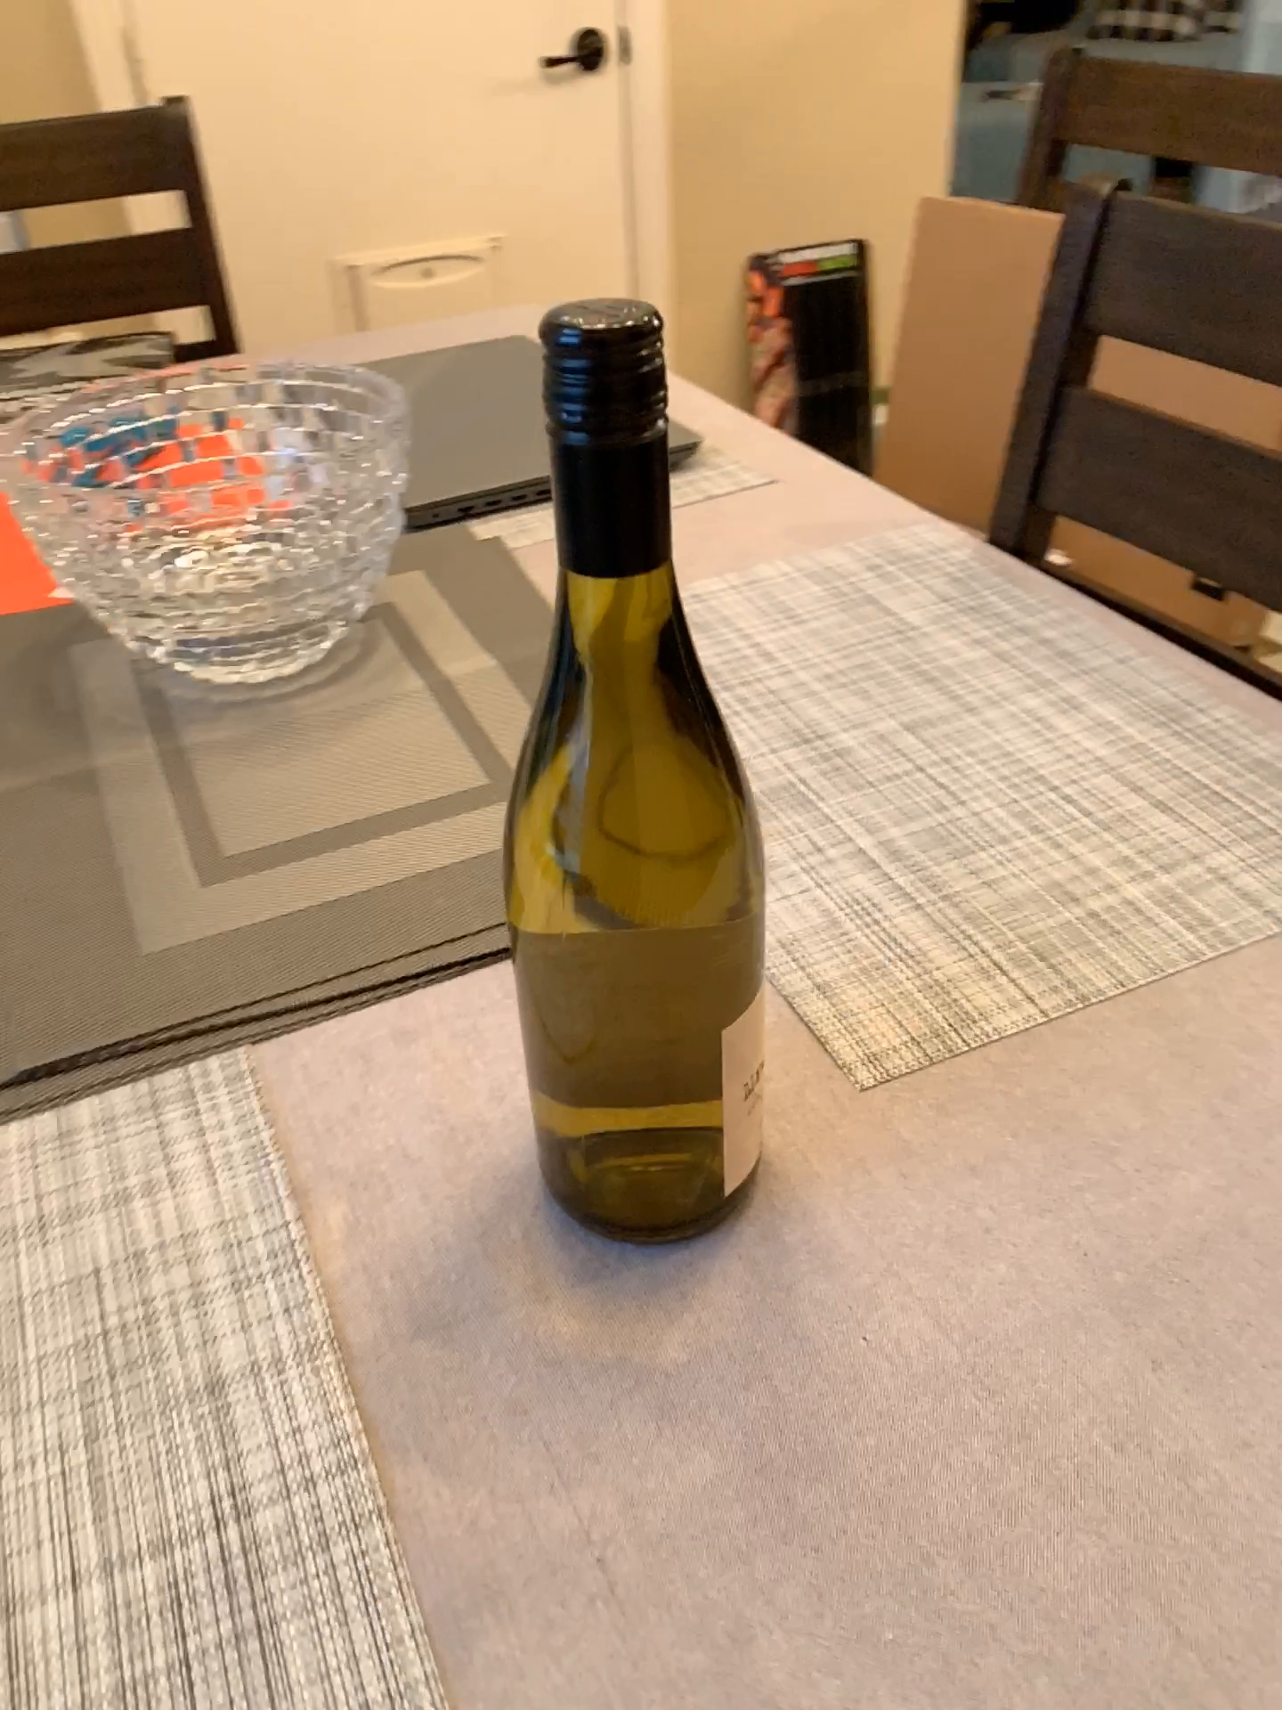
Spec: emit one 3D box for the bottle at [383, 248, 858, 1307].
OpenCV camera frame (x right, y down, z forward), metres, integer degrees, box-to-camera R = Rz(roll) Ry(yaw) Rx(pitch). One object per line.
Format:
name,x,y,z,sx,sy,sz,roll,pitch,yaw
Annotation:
bottle,-0.004,-0.005,0.388,0.090,0.298,0.091,-2,36,1
